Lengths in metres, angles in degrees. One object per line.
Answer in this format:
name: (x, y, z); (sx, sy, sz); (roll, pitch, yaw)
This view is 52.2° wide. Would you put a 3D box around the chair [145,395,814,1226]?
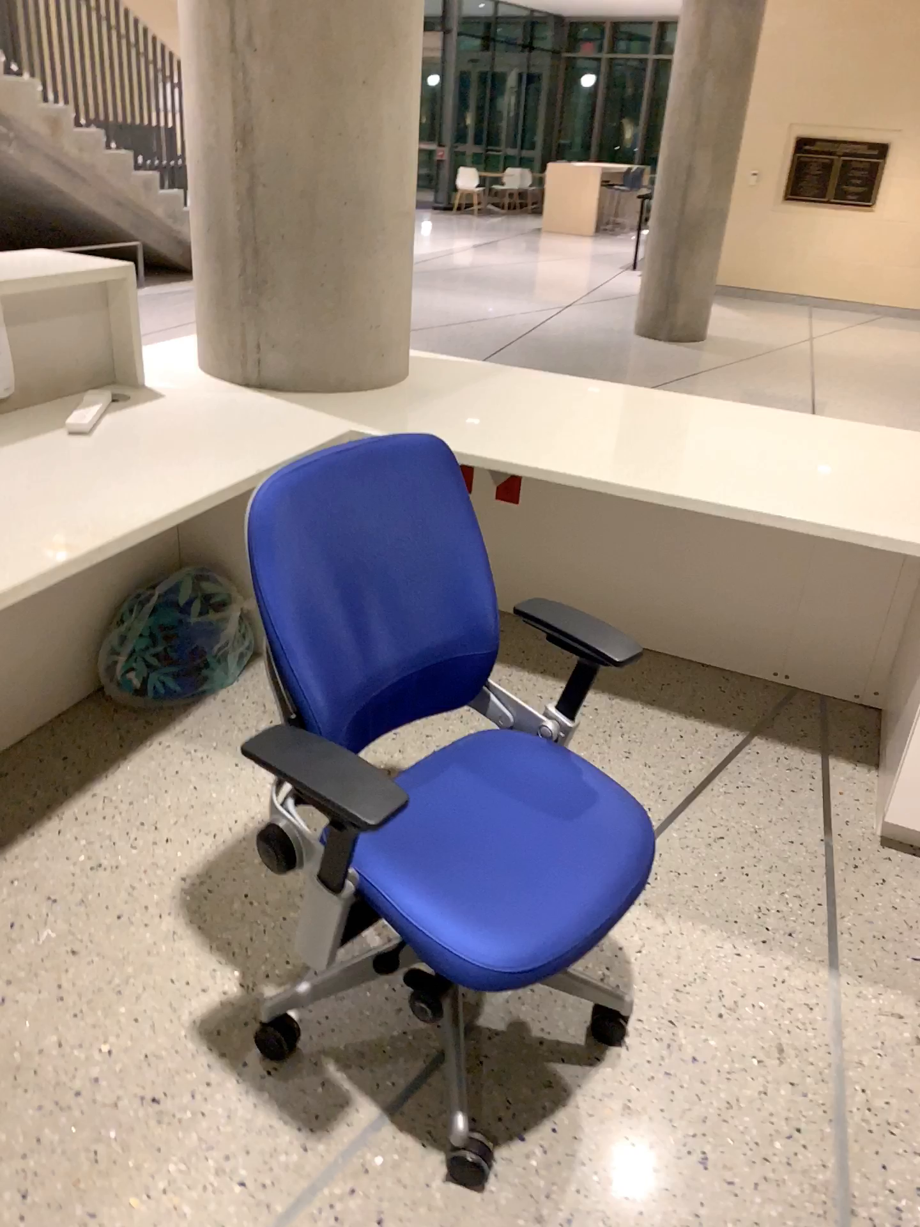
chair: (0.024, 0.225, 1.470); (0.606, 0.907, 0.700); (23, 32, 33)
